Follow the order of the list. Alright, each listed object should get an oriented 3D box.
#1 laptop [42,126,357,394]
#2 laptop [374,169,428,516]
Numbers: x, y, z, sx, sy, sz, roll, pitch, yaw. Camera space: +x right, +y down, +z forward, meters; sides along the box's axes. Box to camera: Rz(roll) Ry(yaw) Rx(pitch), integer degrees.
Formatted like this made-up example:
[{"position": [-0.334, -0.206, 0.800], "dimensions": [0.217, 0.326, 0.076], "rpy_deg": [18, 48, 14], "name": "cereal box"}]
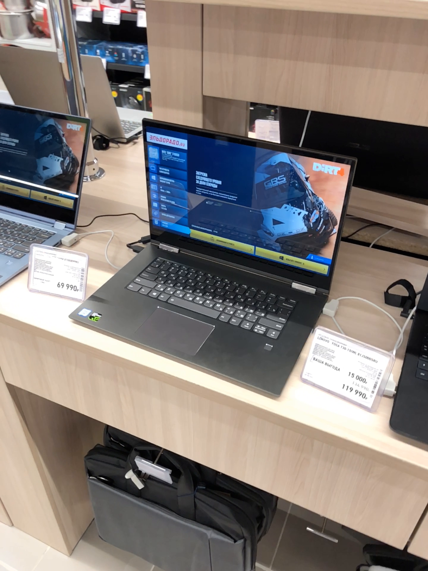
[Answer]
[{"position": [-0.015, -0.064, 0.728], "dimensions": [0.359, 0.240, 0.253], "rpy_deg": [17, 39, 22], "name": "laptop"}, {"position": [0.430, 0.030, 0.565], "dimensions": [0.306, 0.238, 0.309], "rpy_deg": [18, 37, 28], "name": "laptop"}]
